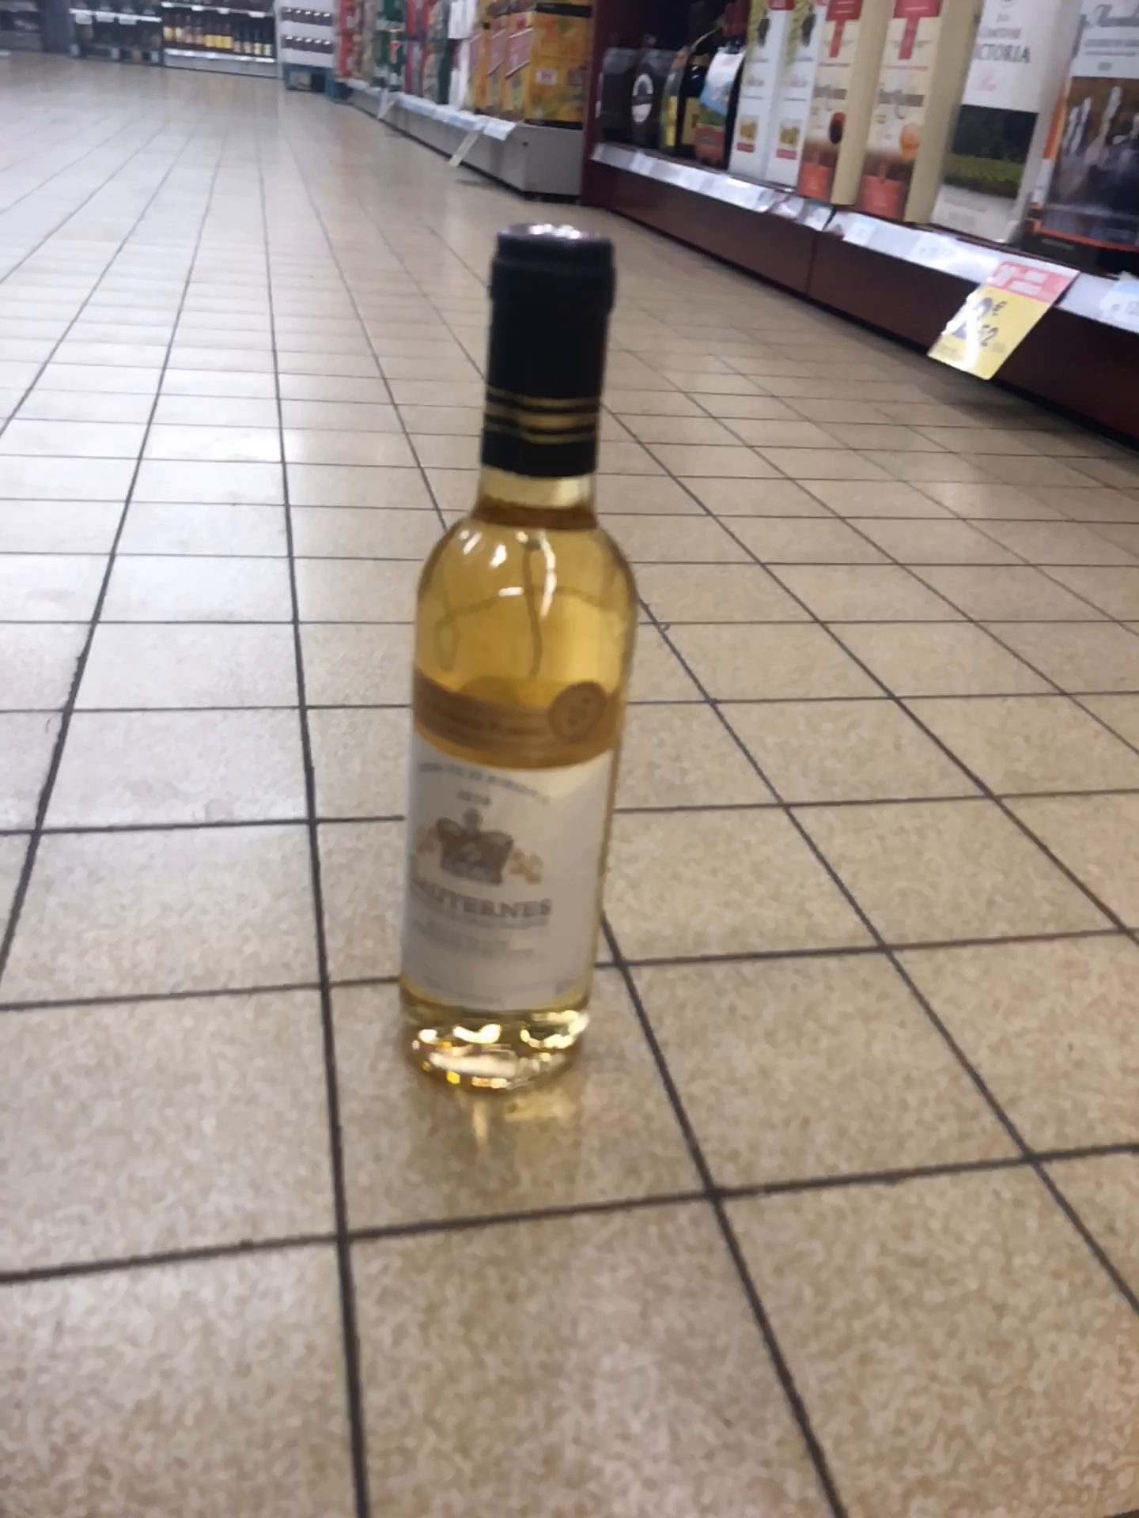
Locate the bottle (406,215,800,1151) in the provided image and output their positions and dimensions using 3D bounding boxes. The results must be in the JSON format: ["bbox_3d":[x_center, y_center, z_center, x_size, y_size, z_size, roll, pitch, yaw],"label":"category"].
[{"bbox_3d":[0.005,-0.014,0.340,0.070,0.239,0.070,5,27,-2],"label":"bottle"}]
